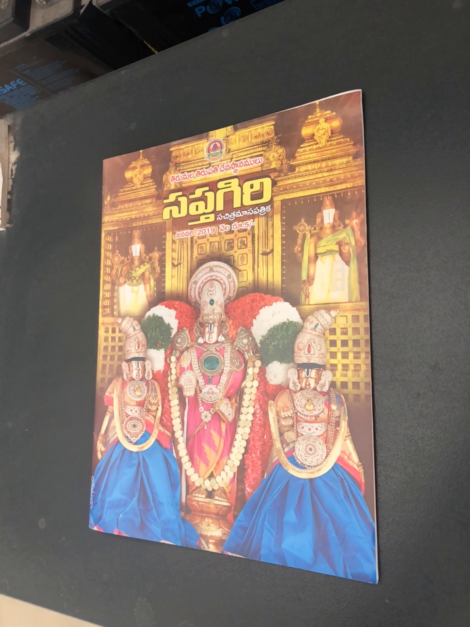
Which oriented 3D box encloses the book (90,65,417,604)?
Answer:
[{"bbox_3d":[0.000,0.009,0.323,0.201,0.030,0.270,-4,81,30],"label":"book"}]
